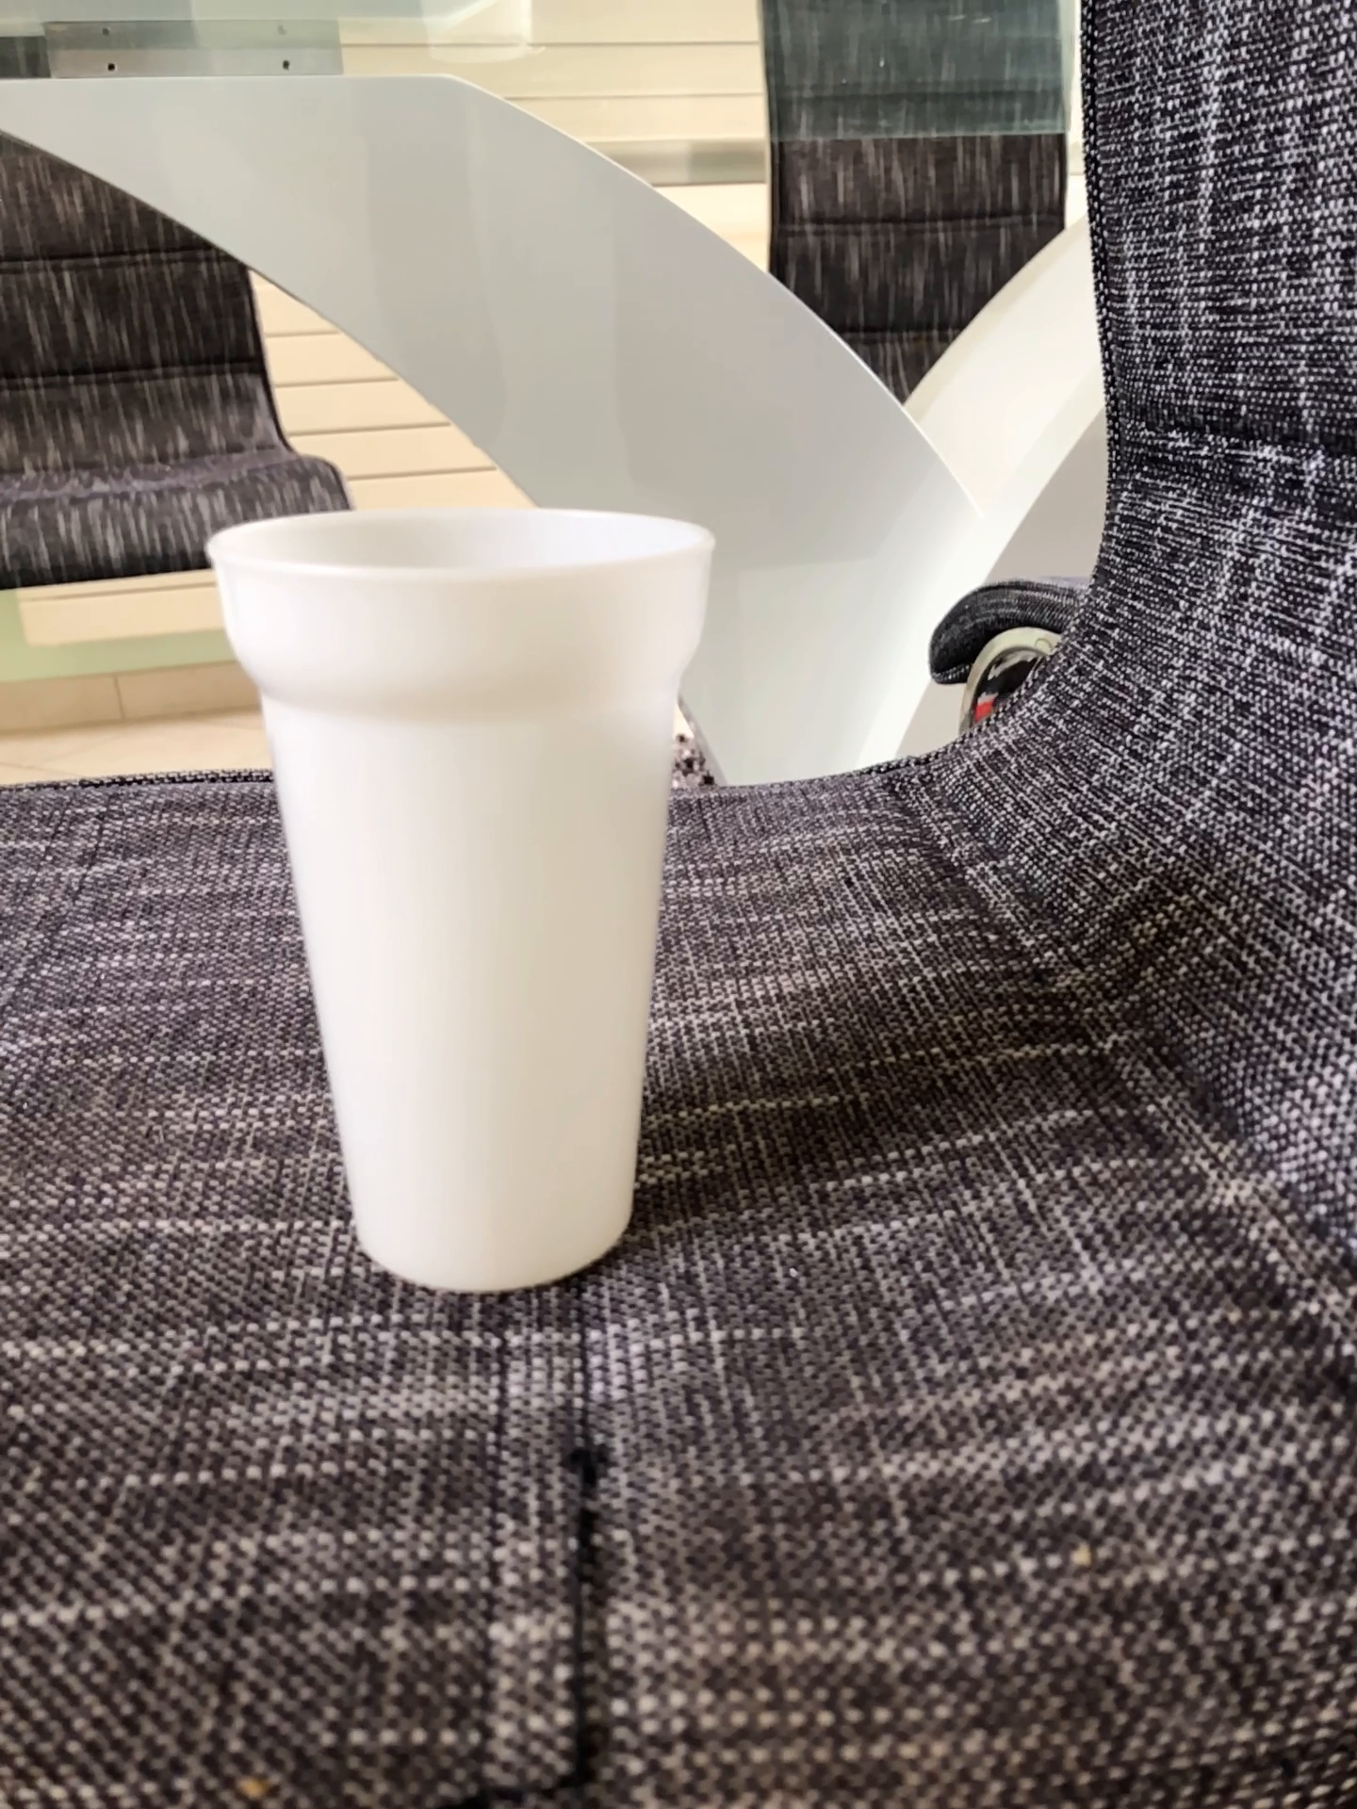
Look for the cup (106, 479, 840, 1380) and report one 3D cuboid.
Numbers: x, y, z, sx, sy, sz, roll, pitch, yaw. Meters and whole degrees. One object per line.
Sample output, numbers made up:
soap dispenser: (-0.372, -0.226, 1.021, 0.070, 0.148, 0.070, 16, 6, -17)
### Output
cup: (-0.031, -0.006, 0.241, 0.080, 0.109, 0.080, -2, 22, 1)
